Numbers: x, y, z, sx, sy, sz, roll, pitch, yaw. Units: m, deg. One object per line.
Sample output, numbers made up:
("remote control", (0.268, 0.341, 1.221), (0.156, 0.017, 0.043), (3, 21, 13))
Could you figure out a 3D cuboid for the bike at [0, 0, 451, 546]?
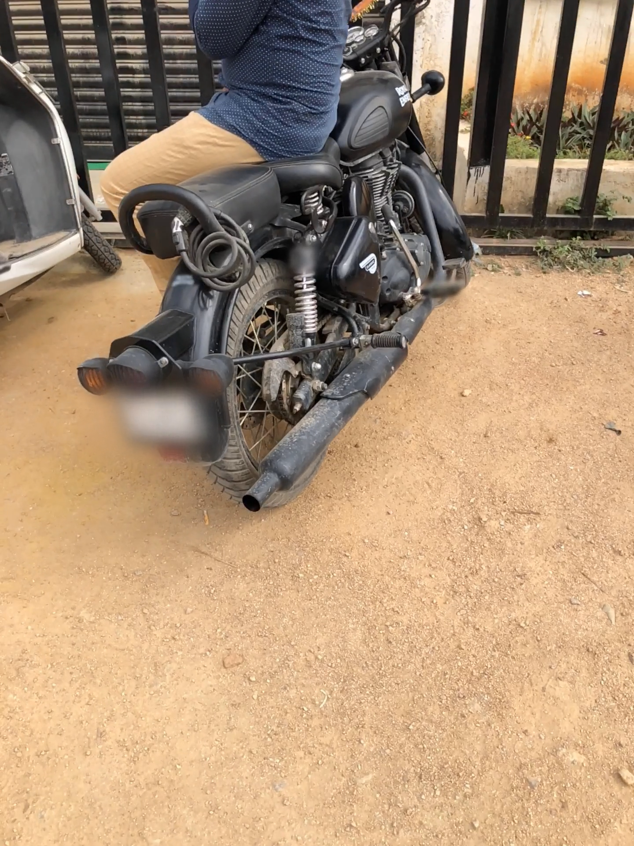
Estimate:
("bike", (-0.084, -0.873, 2.104), (0.722, 1.169, 1.818), (7, 39, 13))
